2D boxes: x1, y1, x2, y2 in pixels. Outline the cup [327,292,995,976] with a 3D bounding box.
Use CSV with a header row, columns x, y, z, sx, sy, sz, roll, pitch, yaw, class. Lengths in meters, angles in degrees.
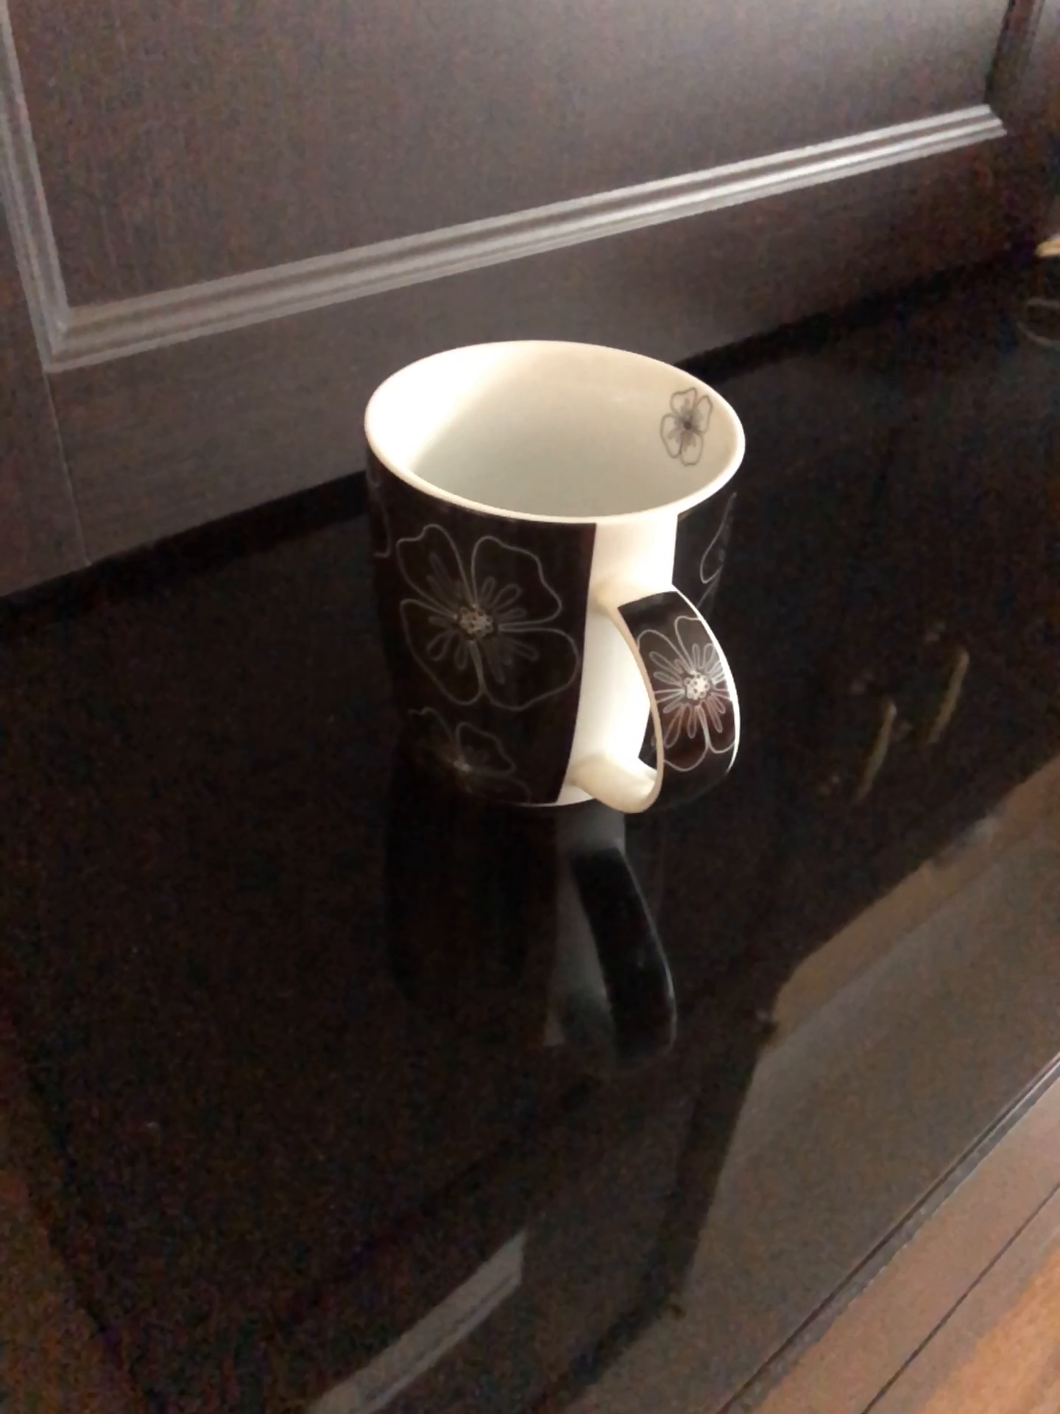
x,y,z,sx,sy,sz,roll,pitch,yaw,class
0.019,-0.025,0.276,0.090,0.089,0.121,-16,44,-22,cup
